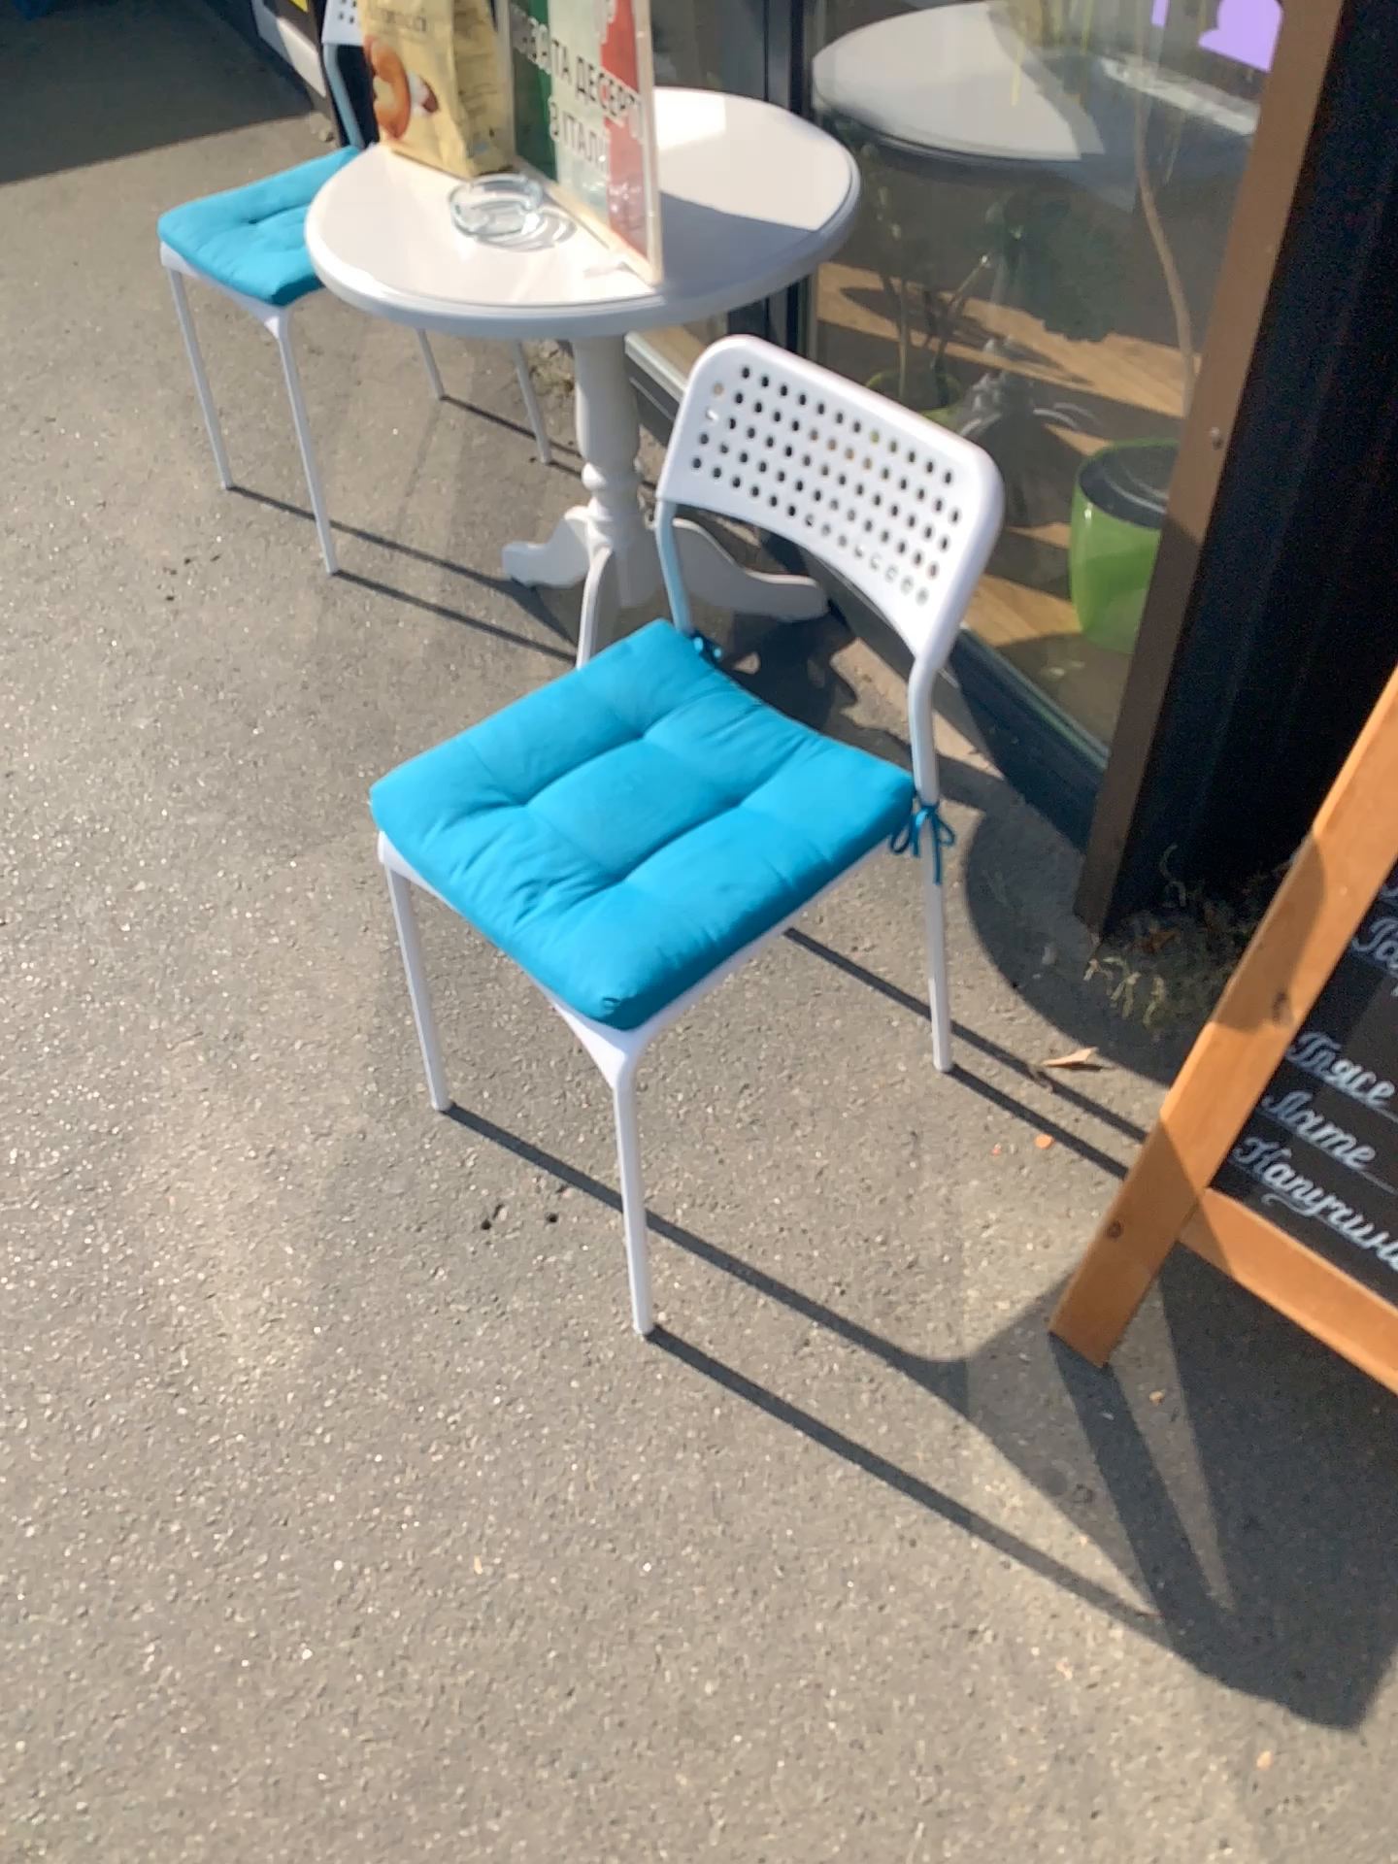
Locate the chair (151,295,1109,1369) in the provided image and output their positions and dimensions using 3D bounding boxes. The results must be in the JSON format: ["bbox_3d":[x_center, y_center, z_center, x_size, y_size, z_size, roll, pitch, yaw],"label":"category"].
[{"bbox_3d":[-0.043,-0.088,1.318,0.541,0.697,0.482,-34,55,-25],"label":"chair"}]
